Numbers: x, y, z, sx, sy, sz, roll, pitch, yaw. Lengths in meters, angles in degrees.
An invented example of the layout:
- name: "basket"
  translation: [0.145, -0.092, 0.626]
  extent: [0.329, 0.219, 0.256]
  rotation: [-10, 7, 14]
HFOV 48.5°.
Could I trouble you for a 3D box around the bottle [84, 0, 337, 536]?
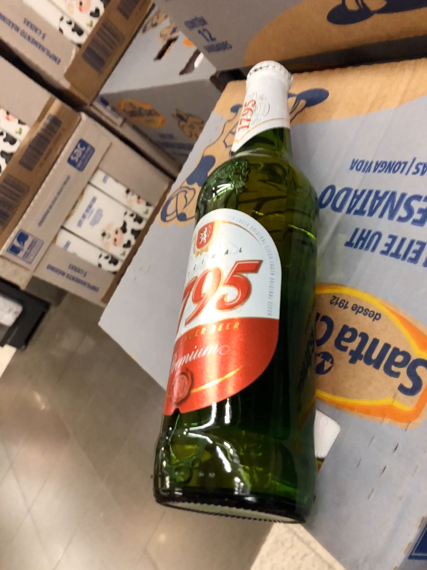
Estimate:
- name: "bottle"
  translation: [0.015, -0.031, 0.242]
  extent: [0.070, 0.060, 0.271]
  rotation: [-20, 49, 40]
